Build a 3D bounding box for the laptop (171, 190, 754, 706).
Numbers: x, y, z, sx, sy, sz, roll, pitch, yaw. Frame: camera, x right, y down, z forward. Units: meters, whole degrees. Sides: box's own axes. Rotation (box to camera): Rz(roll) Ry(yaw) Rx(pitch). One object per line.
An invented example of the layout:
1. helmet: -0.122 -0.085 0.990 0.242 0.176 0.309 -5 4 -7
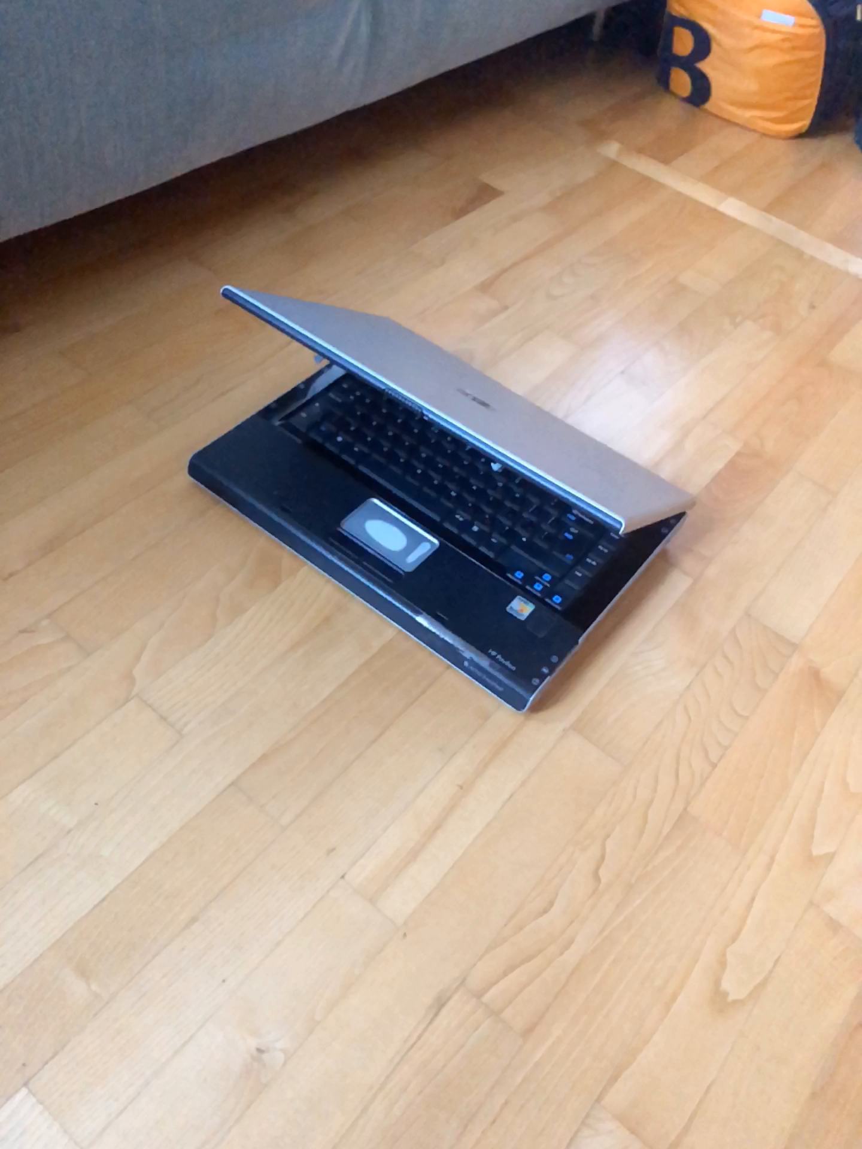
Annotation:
1. laptop: 0.019 -0.124 0.786 0.362 0.147 0.269 34 55 18
